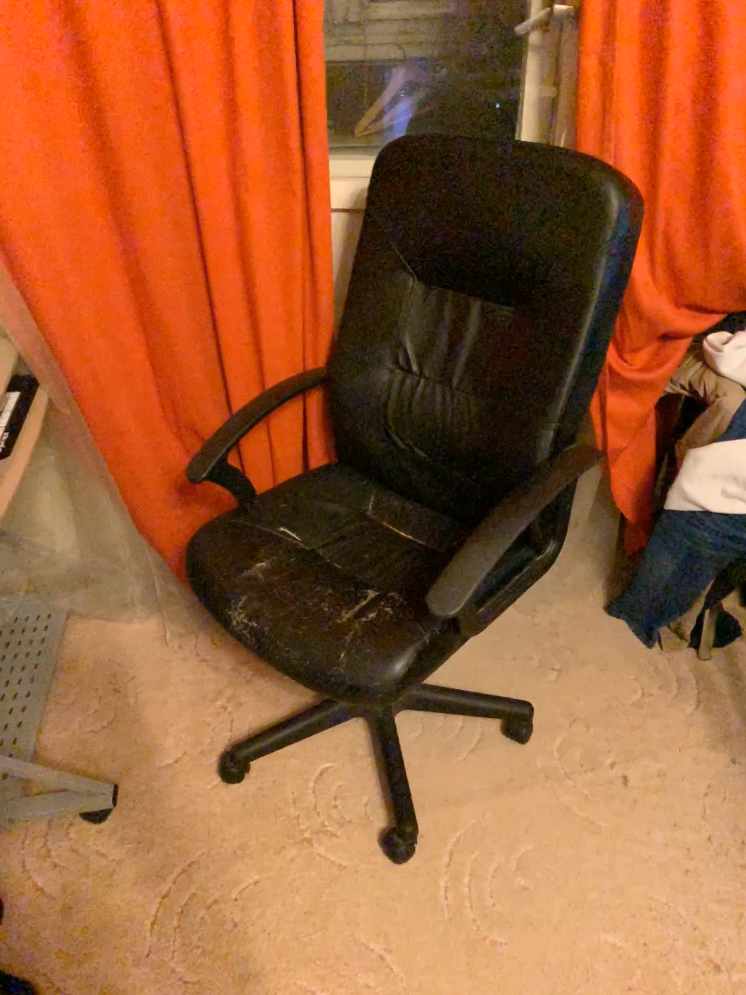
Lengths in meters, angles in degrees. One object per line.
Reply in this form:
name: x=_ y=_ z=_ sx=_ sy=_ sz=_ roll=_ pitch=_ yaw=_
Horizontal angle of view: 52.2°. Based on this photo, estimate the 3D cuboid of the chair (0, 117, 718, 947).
chair: x=0.005 y=0.004 z=1.395 sx=0.712 sy=1.123 sz=0.743 roll=25 pitch=43 yaw=33
